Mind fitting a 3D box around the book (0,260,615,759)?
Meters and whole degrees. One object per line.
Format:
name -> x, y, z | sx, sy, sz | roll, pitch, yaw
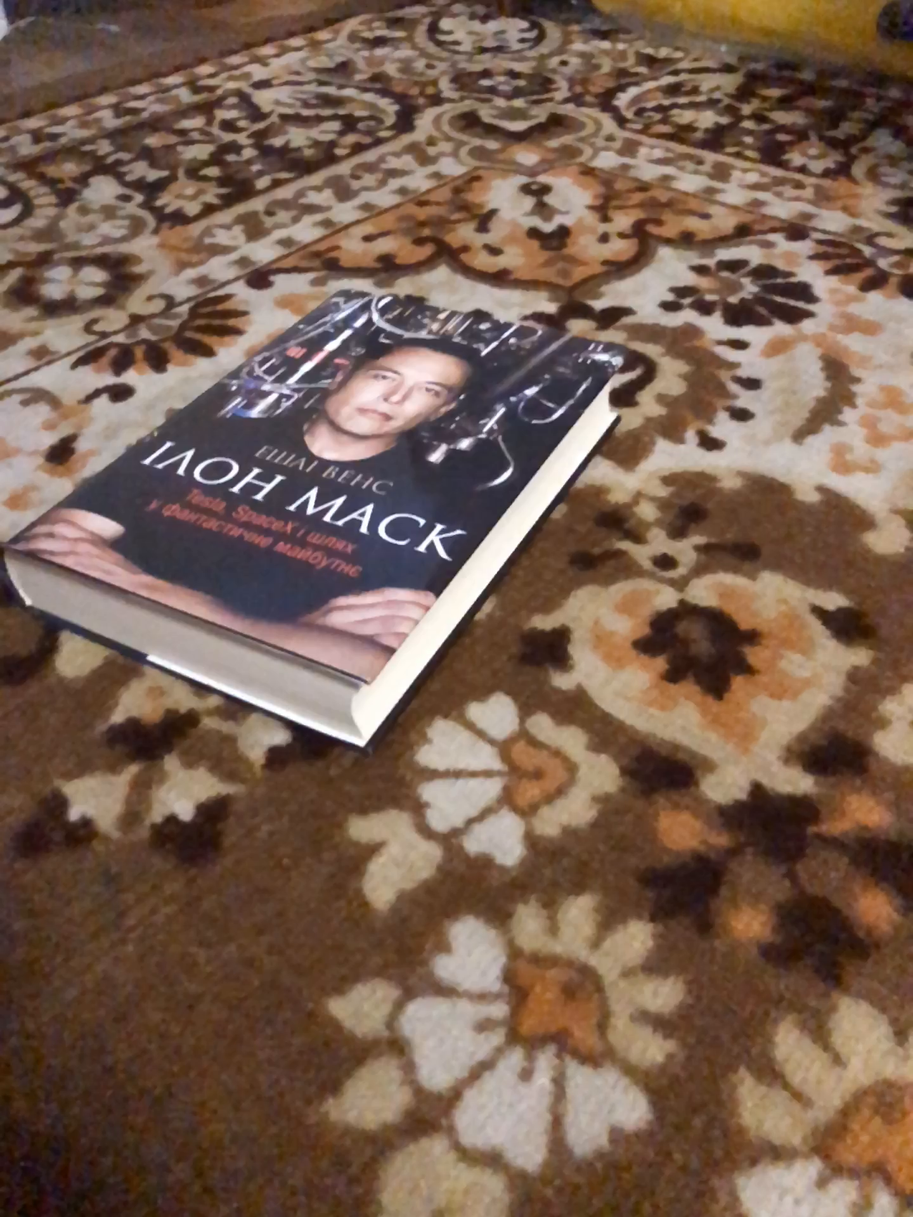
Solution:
book -> -0.059, -0.069, 0.466 | 0.184, 0.050, 0.251 | 18, 48, 20
